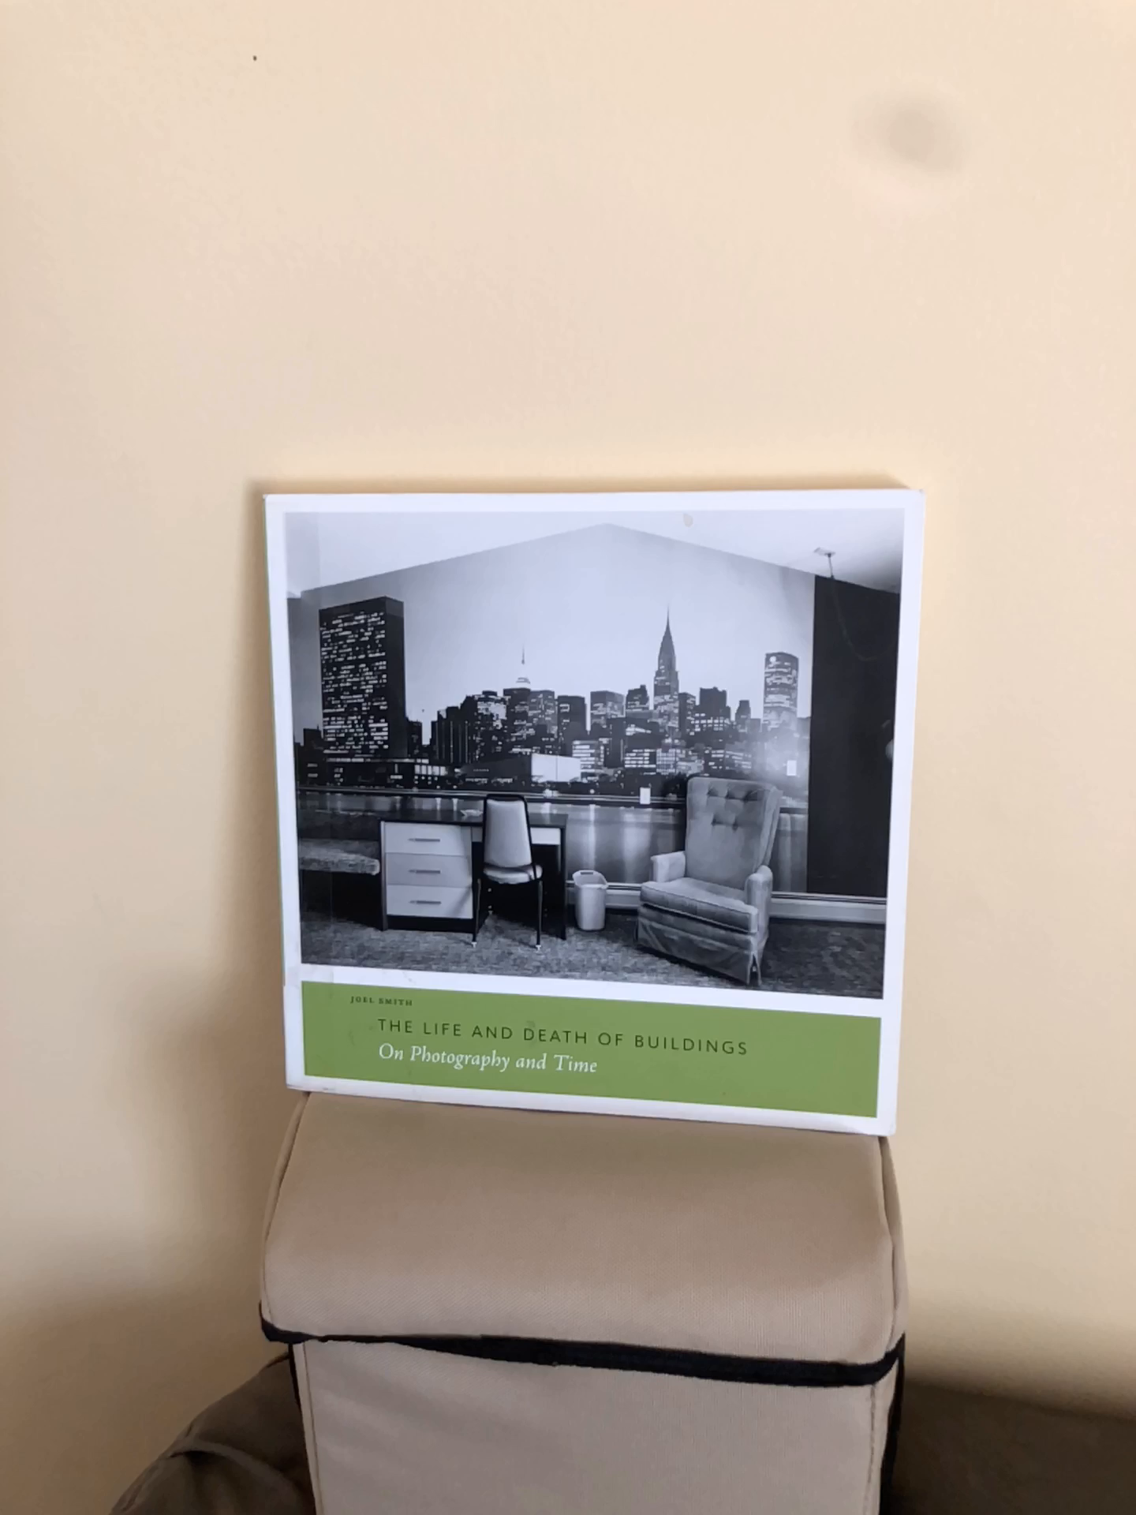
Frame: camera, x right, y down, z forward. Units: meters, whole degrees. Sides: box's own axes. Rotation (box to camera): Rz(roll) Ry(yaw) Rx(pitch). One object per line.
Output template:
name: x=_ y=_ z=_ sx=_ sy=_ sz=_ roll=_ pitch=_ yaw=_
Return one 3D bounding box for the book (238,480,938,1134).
book: x=0.002 y=0.016 z=0.412 sx=0.216 sy=0.204 sz=0.020 roll=2 pitch=9 yaw=6
